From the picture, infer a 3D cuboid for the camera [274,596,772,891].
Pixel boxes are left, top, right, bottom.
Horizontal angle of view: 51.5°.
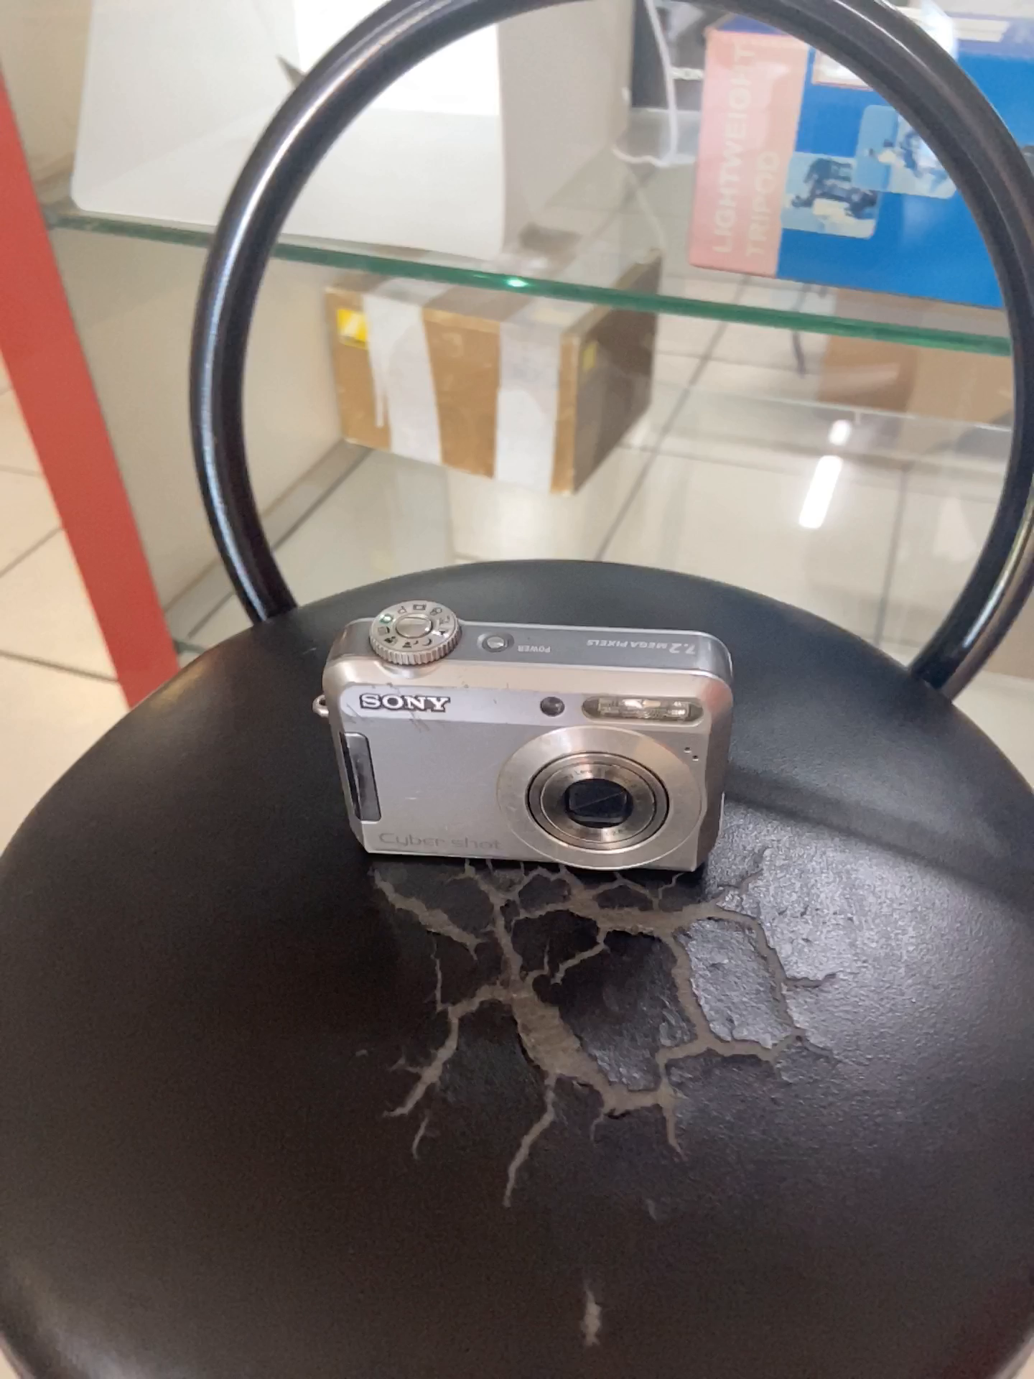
[{"bbox_3d":[0.003,0.012,0.246,0.100,0.050,0.040,2,40,4],"label":"camera"}]
